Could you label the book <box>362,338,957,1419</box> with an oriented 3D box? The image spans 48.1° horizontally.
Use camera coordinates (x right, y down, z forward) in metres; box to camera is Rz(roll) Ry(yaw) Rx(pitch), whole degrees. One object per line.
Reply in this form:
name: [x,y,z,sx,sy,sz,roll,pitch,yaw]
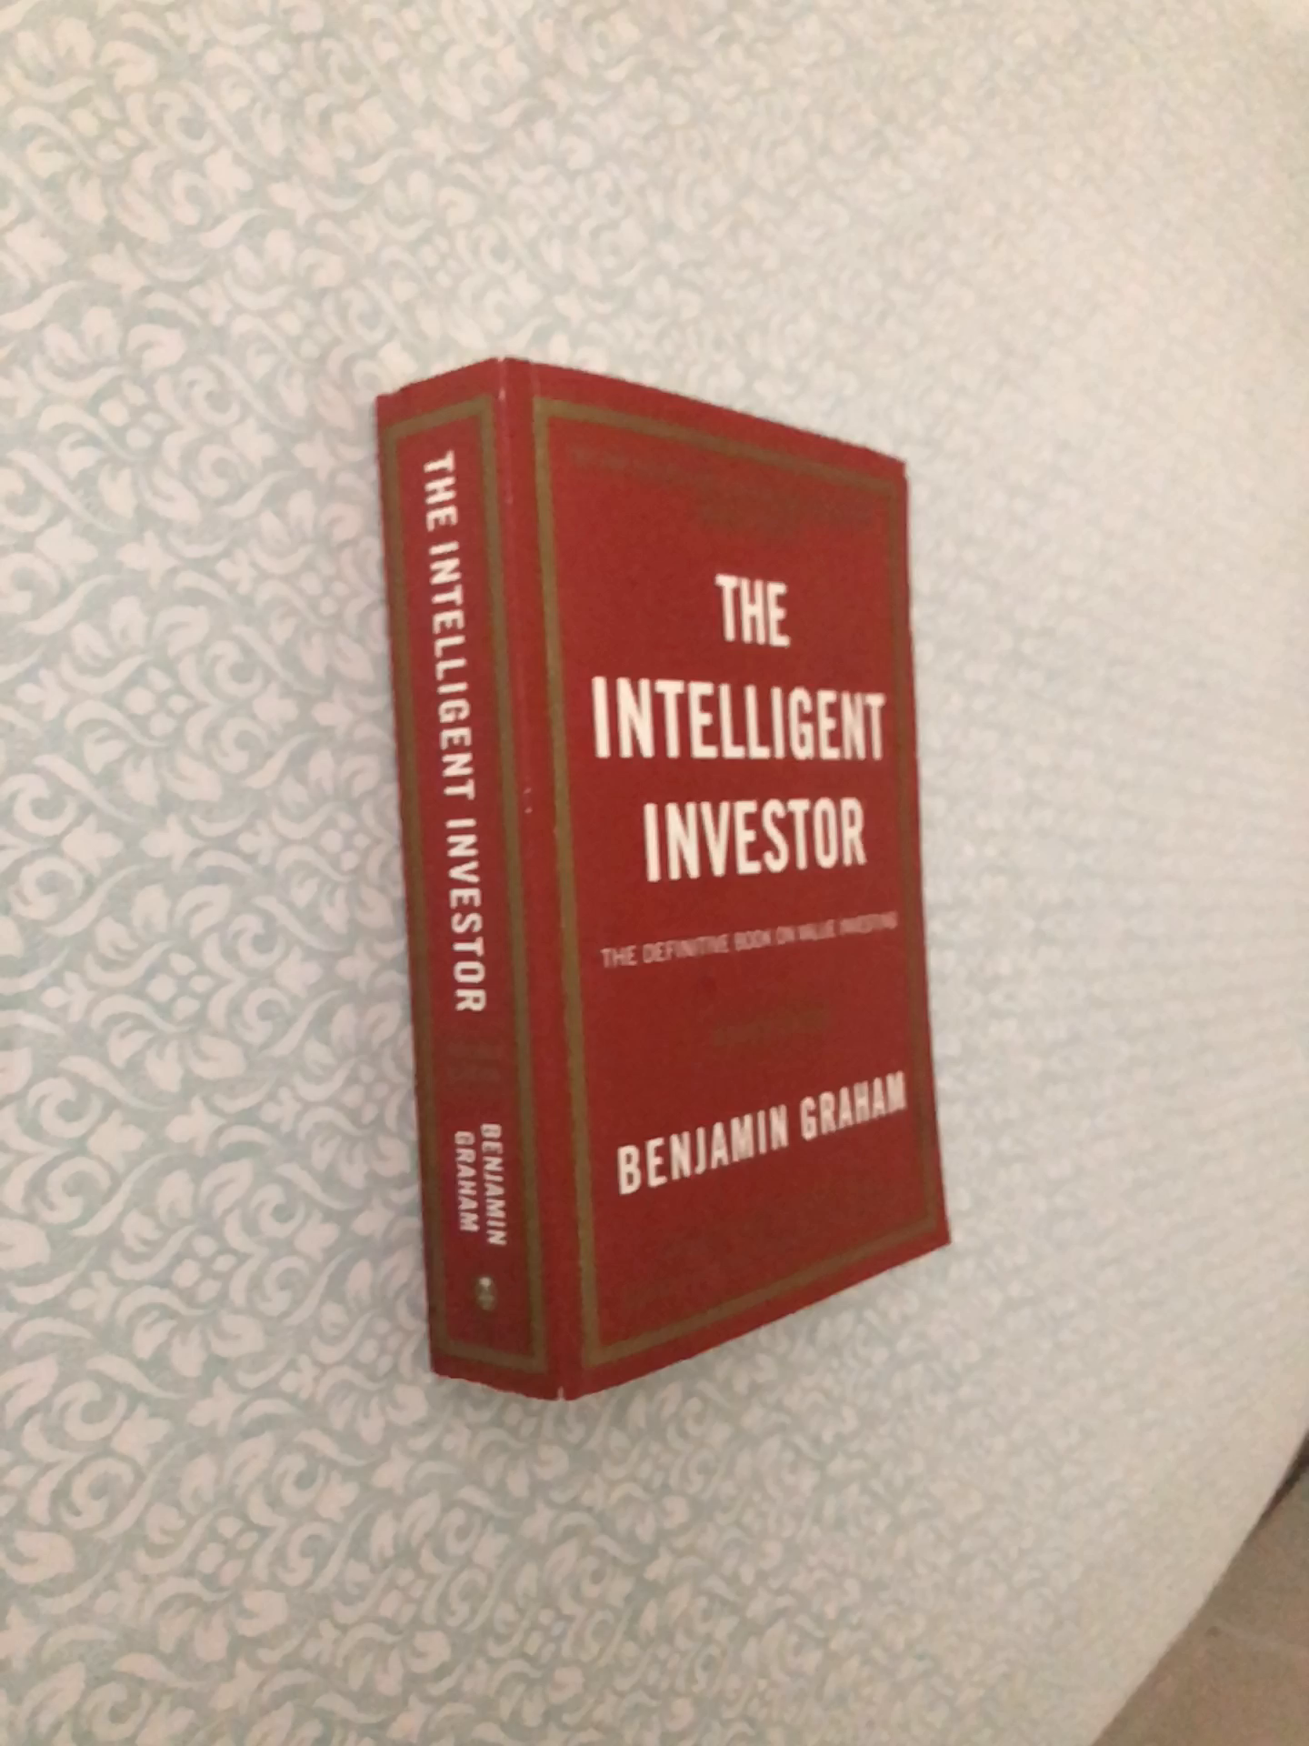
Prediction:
book: [0.008,-0.001,0.336,0.131,0.050,0.200,-5,93,-47]
